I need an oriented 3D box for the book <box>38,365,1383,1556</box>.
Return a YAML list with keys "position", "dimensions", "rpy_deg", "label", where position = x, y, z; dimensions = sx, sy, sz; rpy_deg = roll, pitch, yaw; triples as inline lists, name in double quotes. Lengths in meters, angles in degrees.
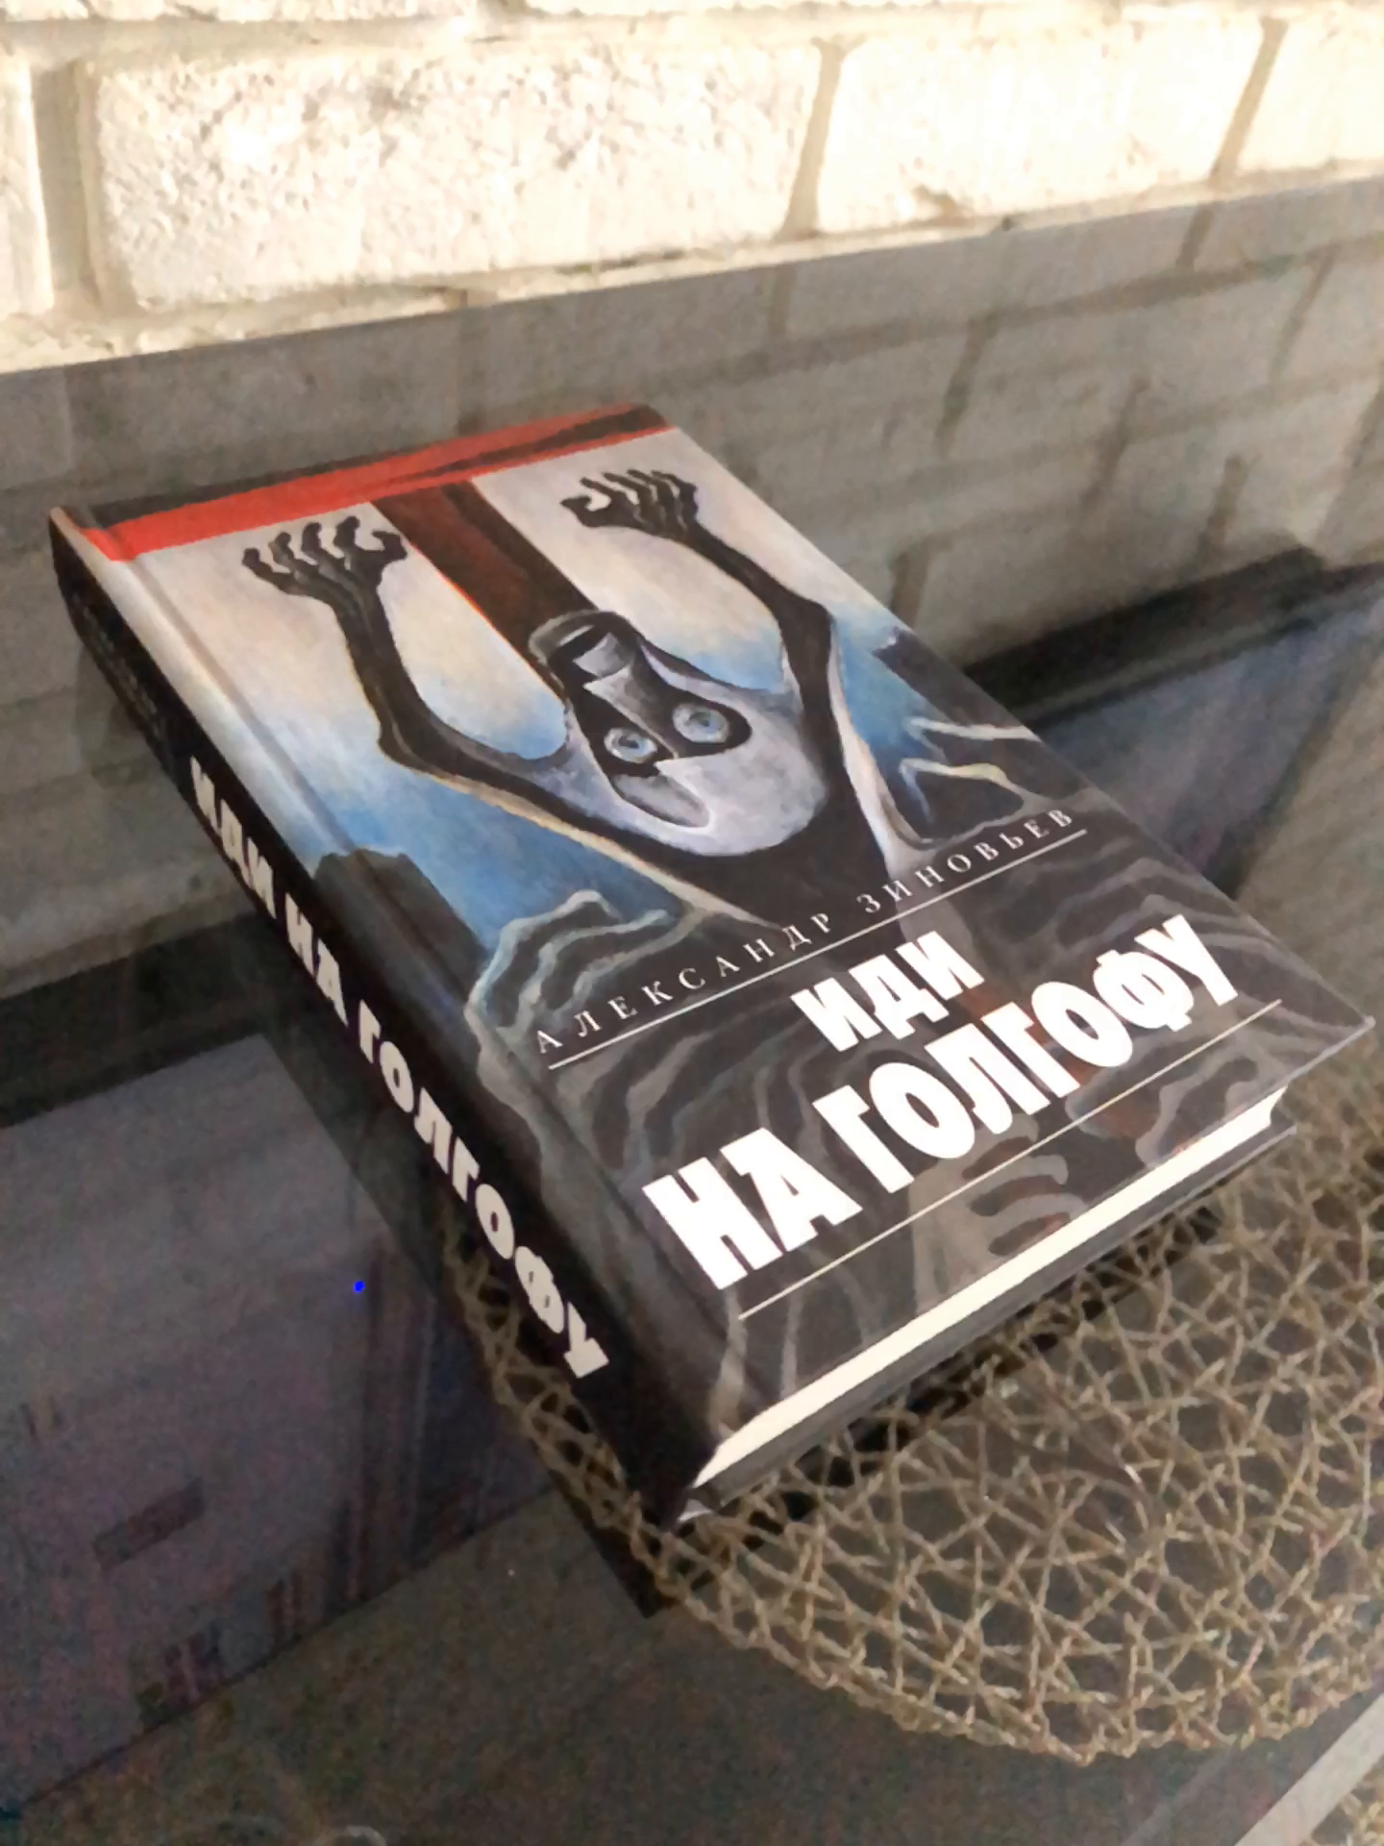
- position: [-0.001, -0.023, 0.256]
  dimensions: [0.141, 0.030, 0.201]
  rpy_deg: [-21, 54, -30]
  label: "book"
